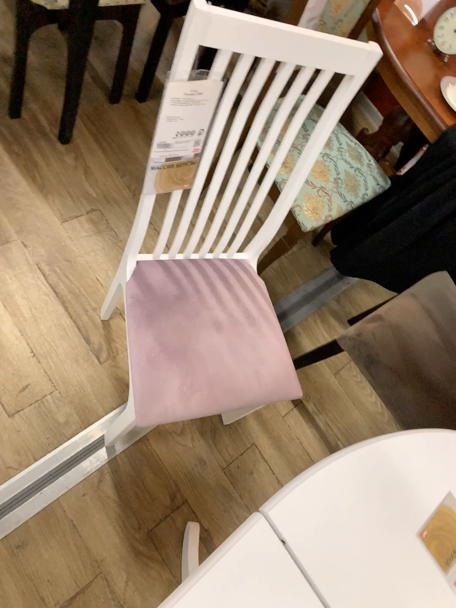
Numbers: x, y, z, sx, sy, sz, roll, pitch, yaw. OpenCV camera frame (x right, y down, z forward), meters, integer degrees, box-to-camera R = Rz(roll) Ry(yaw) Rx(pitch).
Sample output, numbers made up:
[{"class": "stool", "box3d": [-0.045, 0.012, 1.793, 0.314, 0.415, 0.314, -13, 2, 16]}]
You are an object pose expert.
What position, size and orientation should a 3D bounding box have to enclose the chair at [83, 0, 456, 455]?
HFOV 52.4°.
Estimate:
[{"class": "chair", "box3d": [-0.012, -0.017, 1.077, 0.441, 1.004, 0.521, -4, 69, -27]}]
